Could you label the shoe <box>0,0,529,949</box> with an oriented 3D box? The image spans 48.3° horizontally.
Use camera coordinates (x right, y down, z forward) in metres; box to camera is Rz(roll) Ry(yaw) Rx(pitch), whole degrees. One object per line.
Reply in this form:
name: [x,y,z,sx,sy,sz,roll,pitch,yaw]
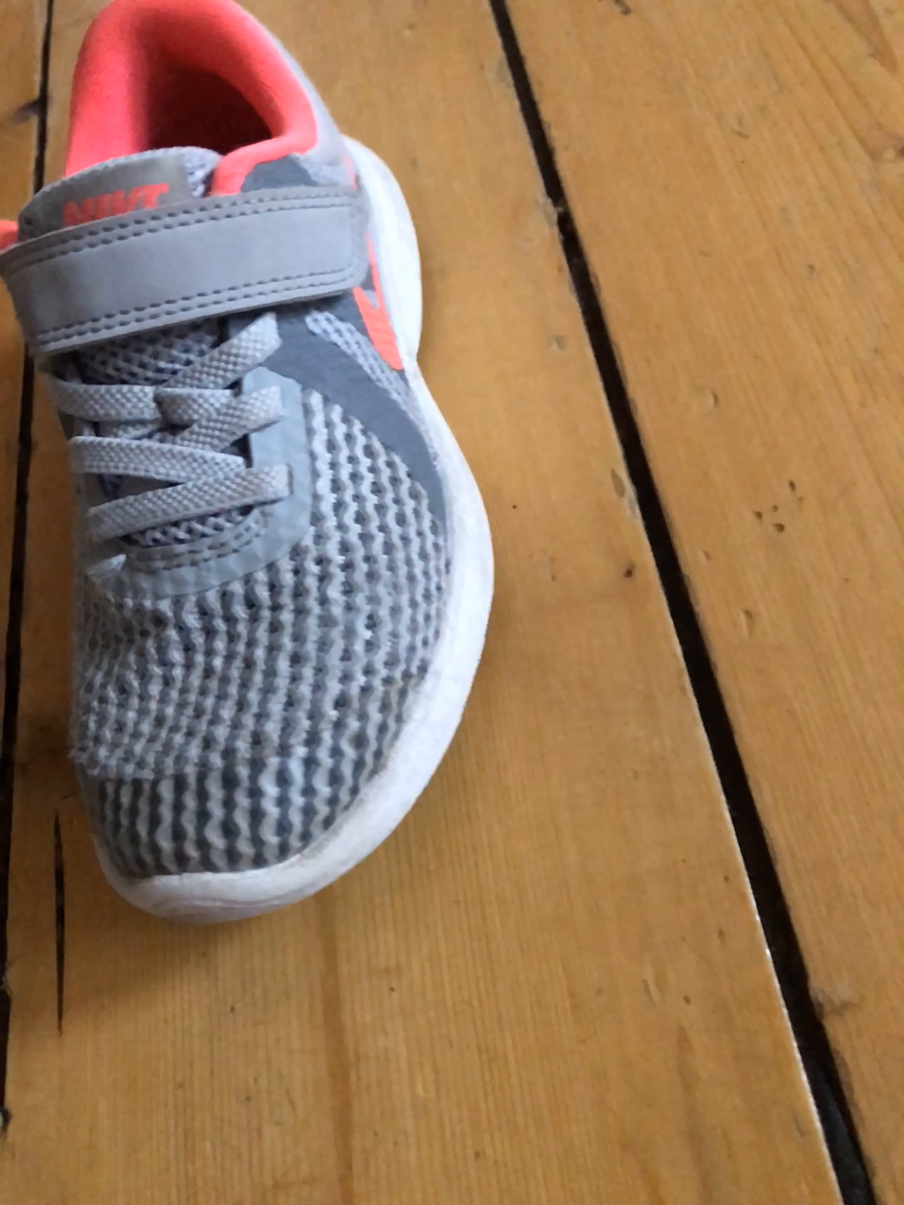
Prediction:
shoe: [-0.043,-0.037,0.195,0.080,0.070,0.181,-13,62,14]
